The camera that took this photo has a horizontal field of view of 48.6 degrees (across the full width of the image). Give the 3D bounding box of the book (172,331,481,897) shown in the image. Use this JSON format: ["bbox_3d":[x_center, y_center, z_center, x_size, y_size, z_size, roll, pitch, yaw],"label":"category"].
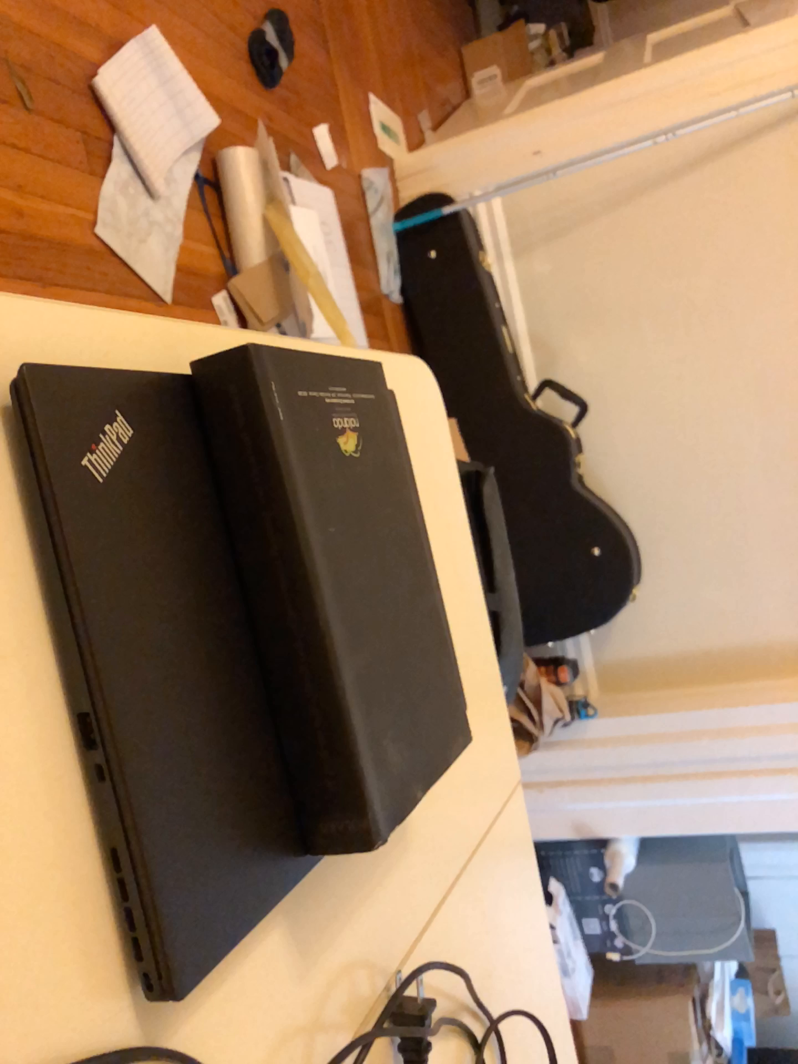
[{"bbox_3d":[-0.023,0.028,0.427,0.151,0.040,0.230,-19,97,-67],"label":"book"}]
